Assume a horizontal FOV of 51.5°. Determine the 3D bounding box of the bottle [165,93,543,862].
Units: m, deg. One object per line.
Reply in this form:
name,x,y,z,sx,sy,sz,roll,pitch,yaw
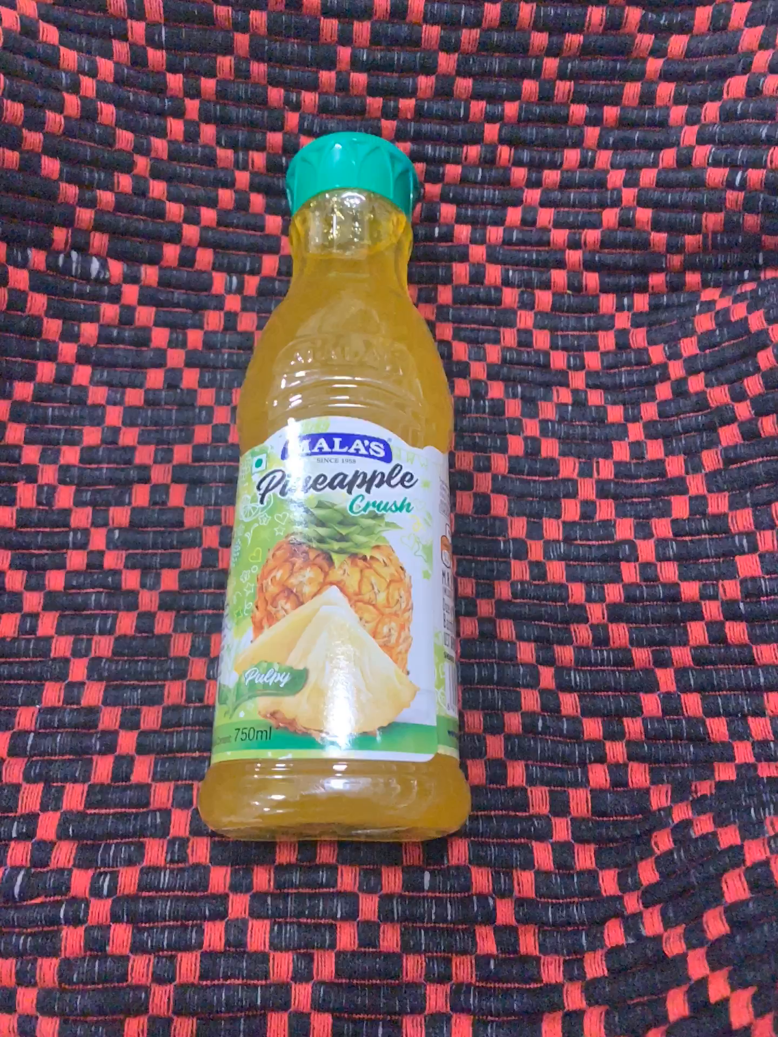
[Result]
bottle,-0.010,-0.020,0.251,0.080,0.070,0.230,1,65,-4
